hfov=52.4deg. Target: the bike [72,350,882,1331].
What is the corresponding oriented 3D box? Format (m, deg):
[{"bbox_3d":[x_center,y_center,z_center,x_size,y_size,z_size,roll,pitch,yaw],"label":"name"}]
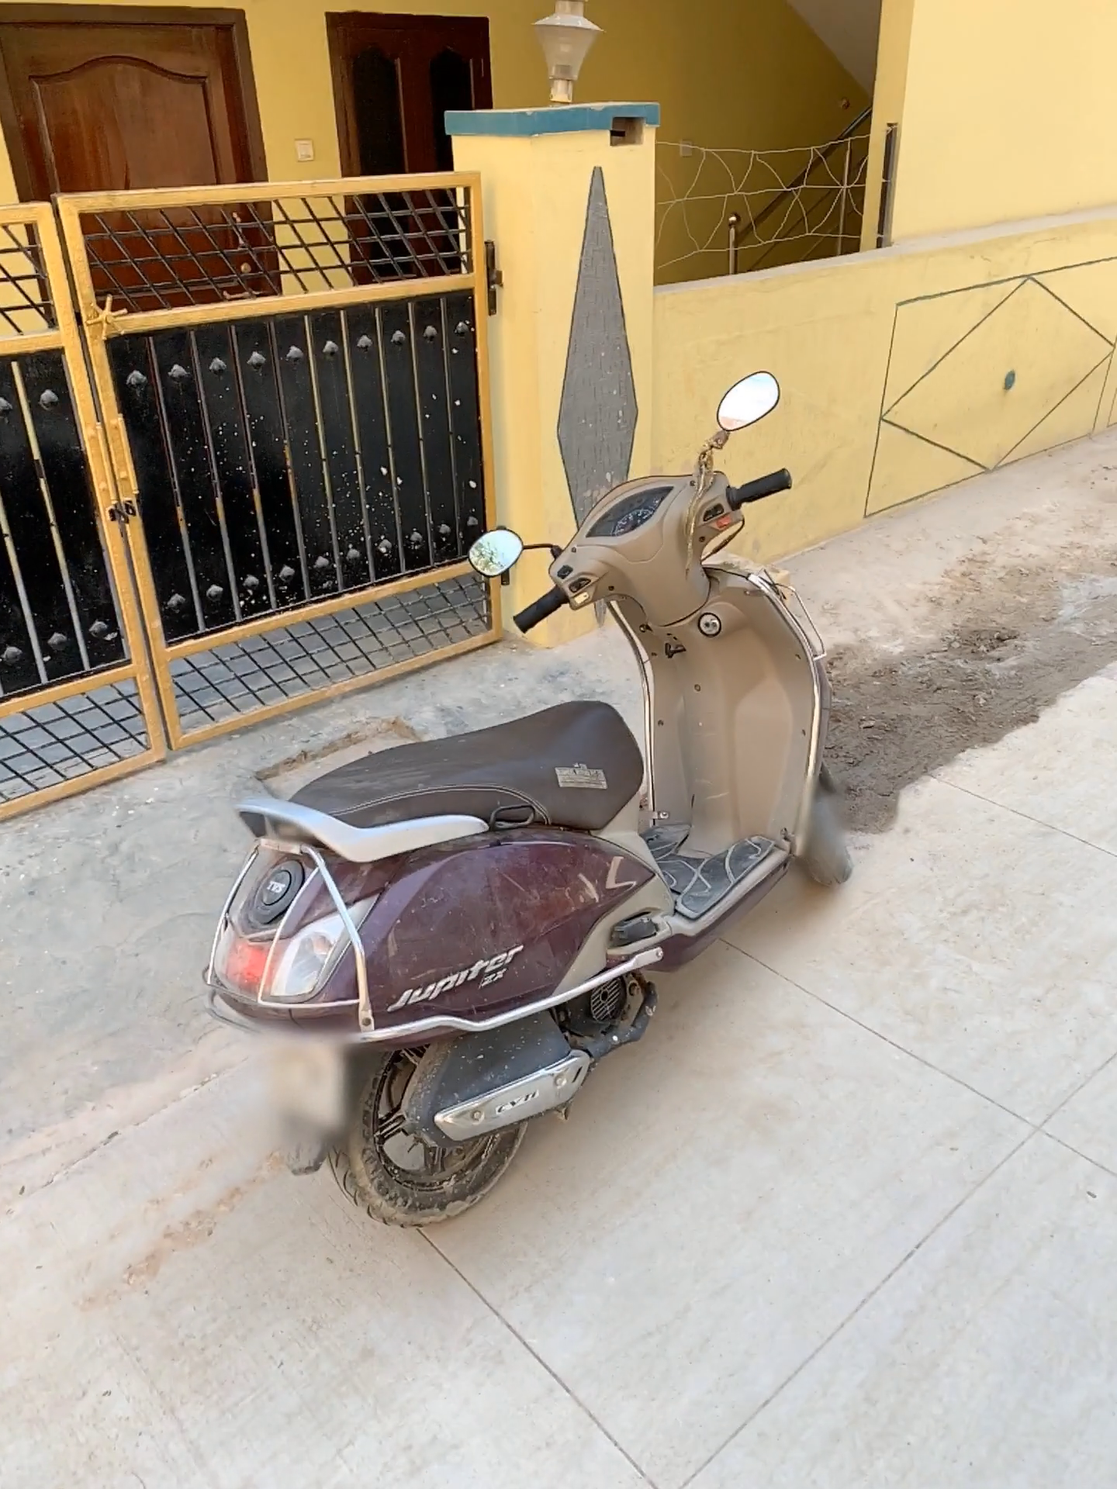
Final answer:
[{"bbox_3d":[-0.015,0.033,2.312,0.614,1.159,1.528,19,39,33],"label":"bike"}]
